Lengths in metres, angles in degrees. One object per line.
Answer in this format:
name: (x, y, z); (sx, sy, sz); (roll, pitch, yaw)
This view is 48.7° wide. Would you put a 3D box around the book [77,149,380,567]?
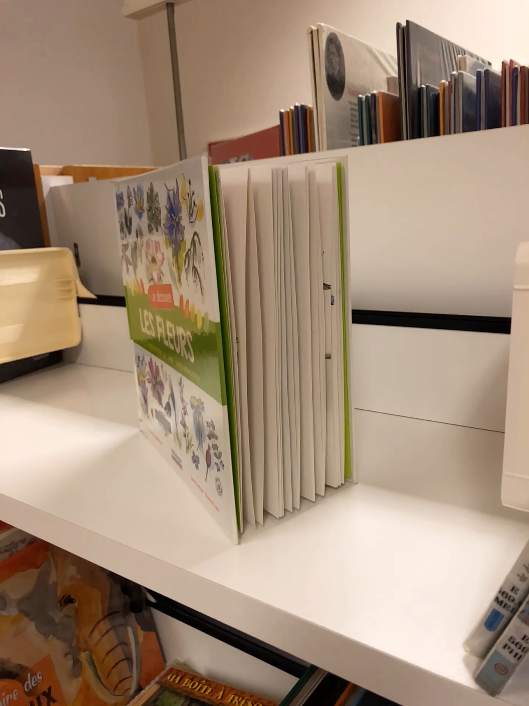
book: (-0.034, -0.014, 0.406); (0.104, 0.215, 0.208); (-11, 14, -33)
